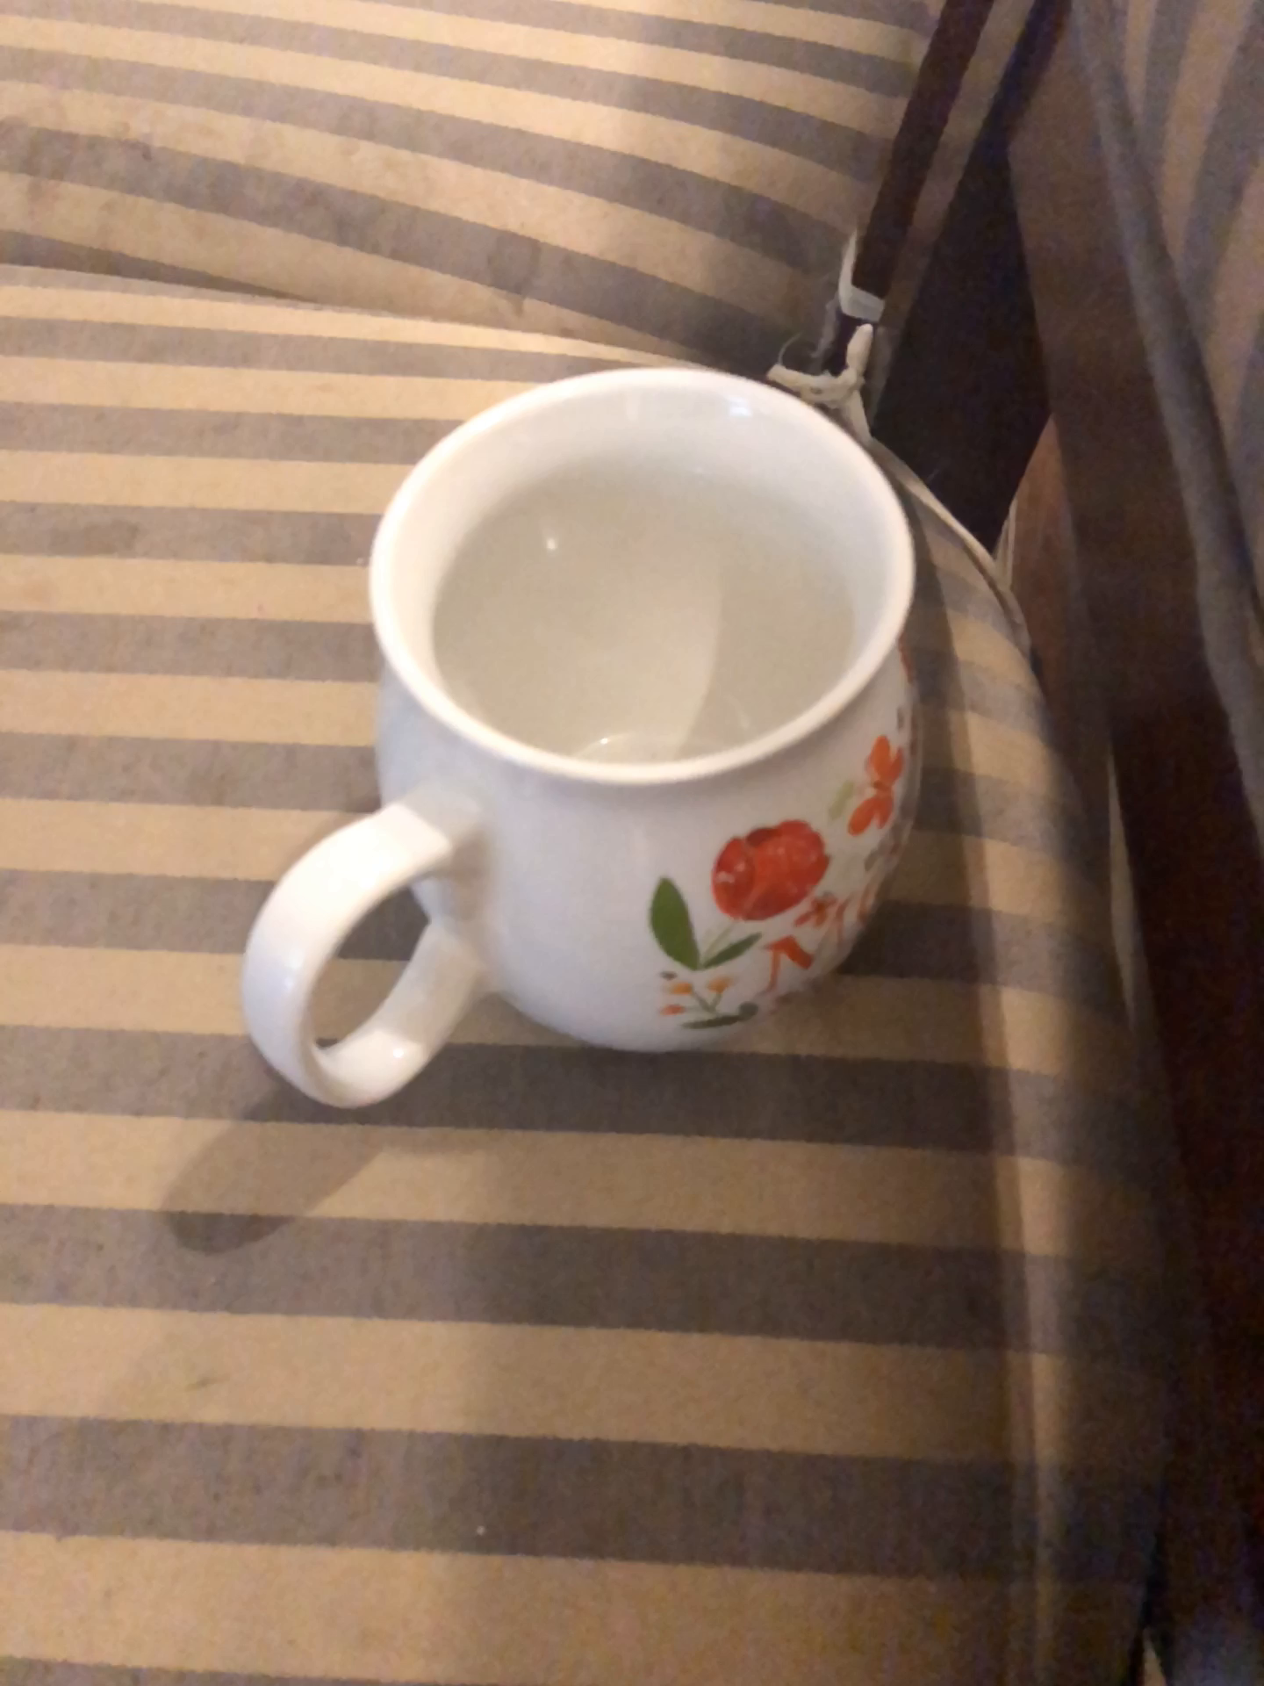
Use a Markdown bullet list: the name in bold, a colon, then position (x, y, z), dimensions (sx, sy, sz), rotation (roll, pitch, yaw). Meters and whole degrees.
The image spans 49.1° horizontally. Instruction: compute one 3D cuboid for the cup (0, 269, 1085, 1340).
- **cup**: position (-0.015, -0.011, 0.255), dimensions (0.110, 0.090, 0.140), rotation (39, 65, 20)
